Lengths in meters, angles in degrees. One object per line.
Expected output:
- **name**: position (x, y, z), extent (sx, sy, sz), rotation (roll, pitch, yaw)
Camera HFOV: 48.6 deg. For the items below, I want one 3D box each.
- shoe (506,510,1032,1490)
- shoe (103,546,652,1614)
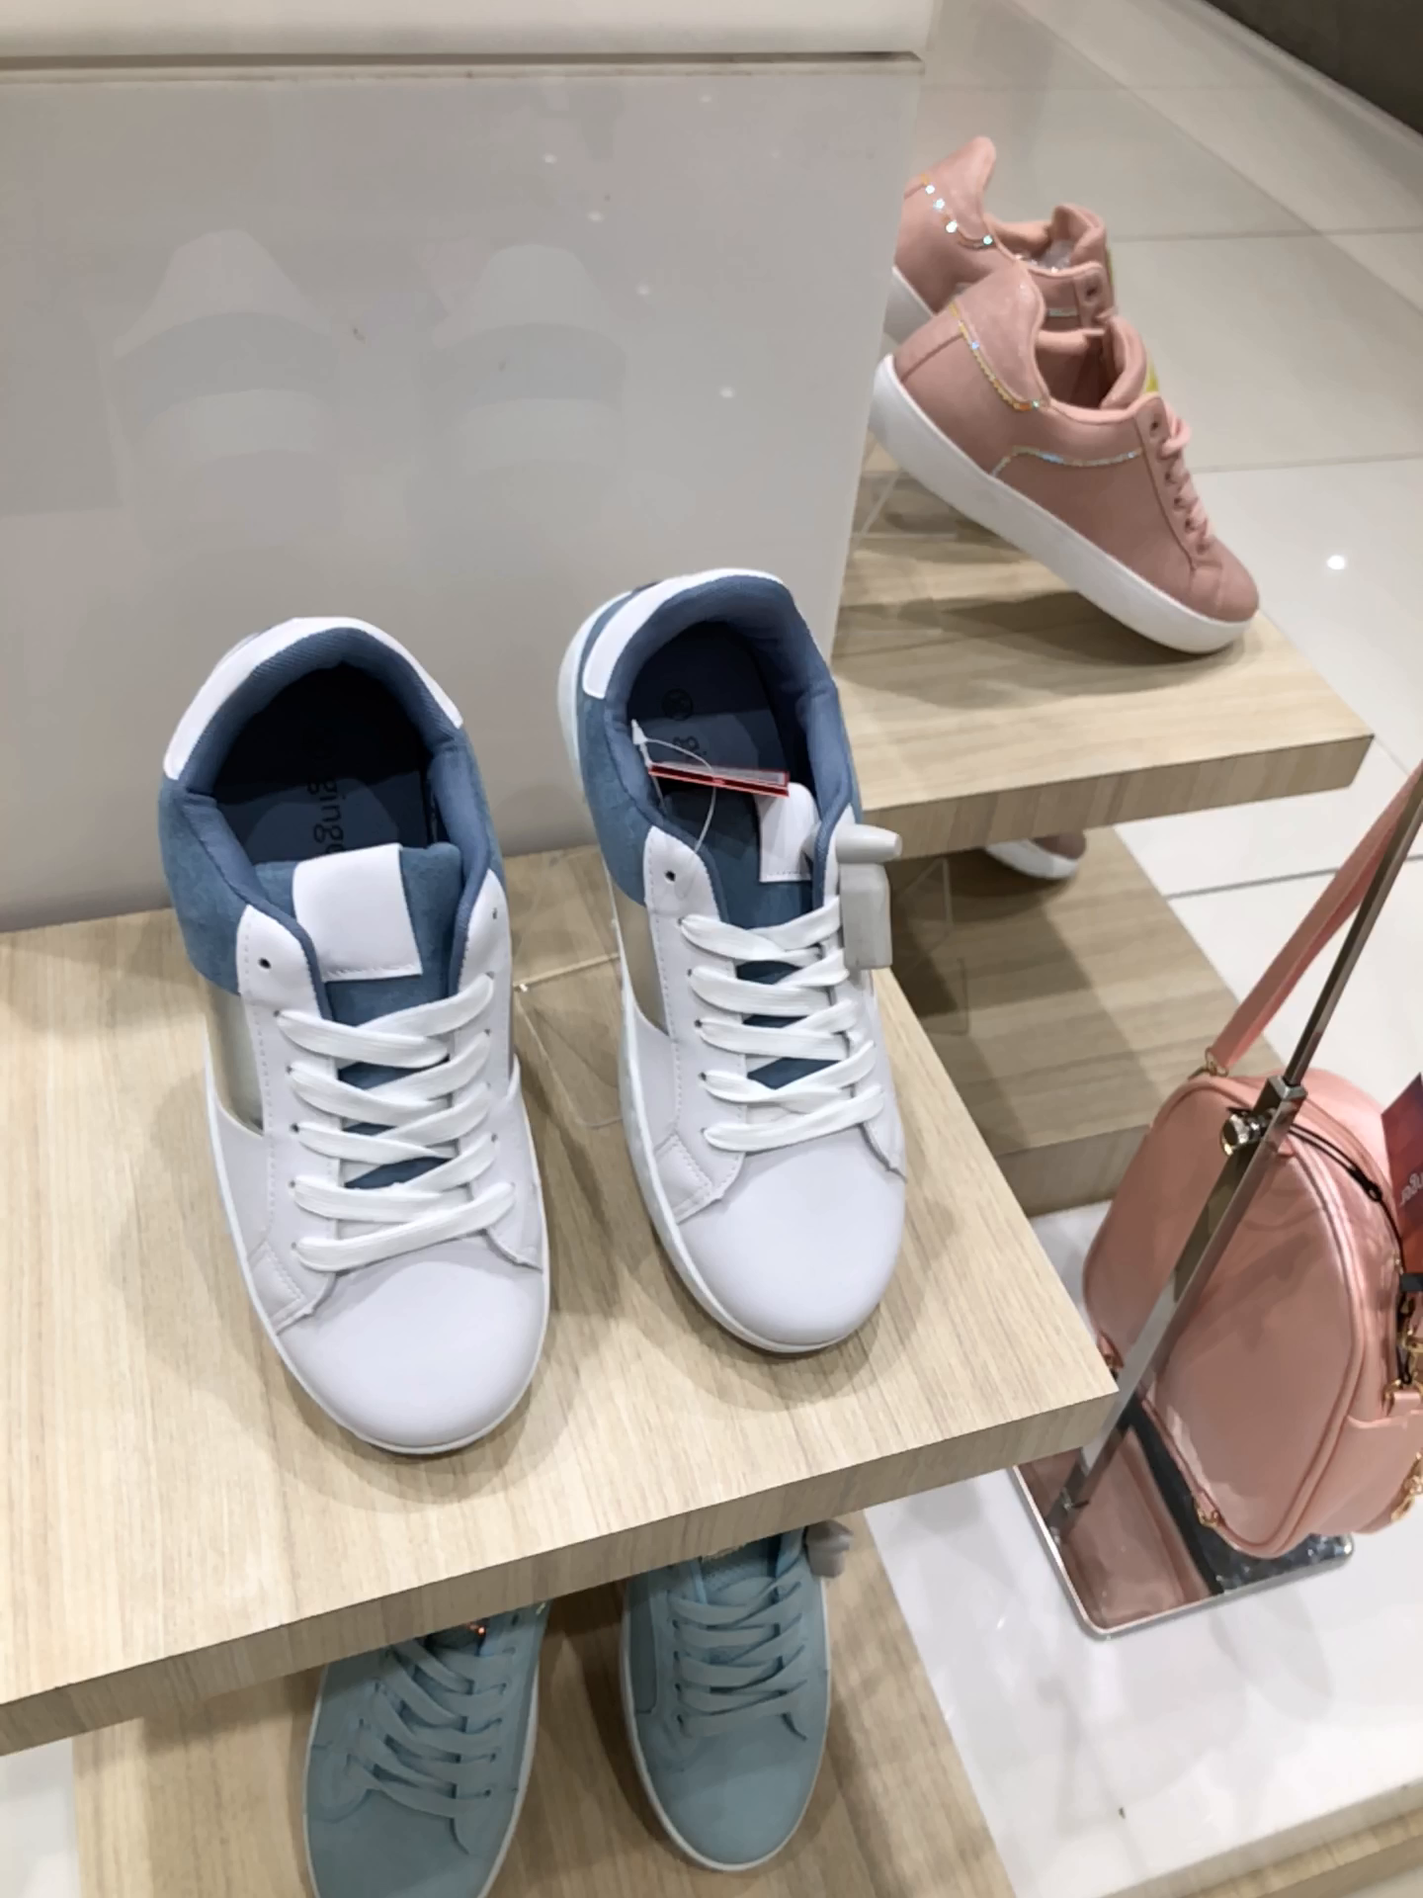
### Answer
- **shoe**: position (0.014, 0.010, 0.493), extent (0.102, 0.263, 0.104), rotation (-9, 5, -17)
- **shoe**: position (-0.099, 0.031, 0.455), extent (0.092, 0.261, 0.104), rotation (-12, 5, -19)
